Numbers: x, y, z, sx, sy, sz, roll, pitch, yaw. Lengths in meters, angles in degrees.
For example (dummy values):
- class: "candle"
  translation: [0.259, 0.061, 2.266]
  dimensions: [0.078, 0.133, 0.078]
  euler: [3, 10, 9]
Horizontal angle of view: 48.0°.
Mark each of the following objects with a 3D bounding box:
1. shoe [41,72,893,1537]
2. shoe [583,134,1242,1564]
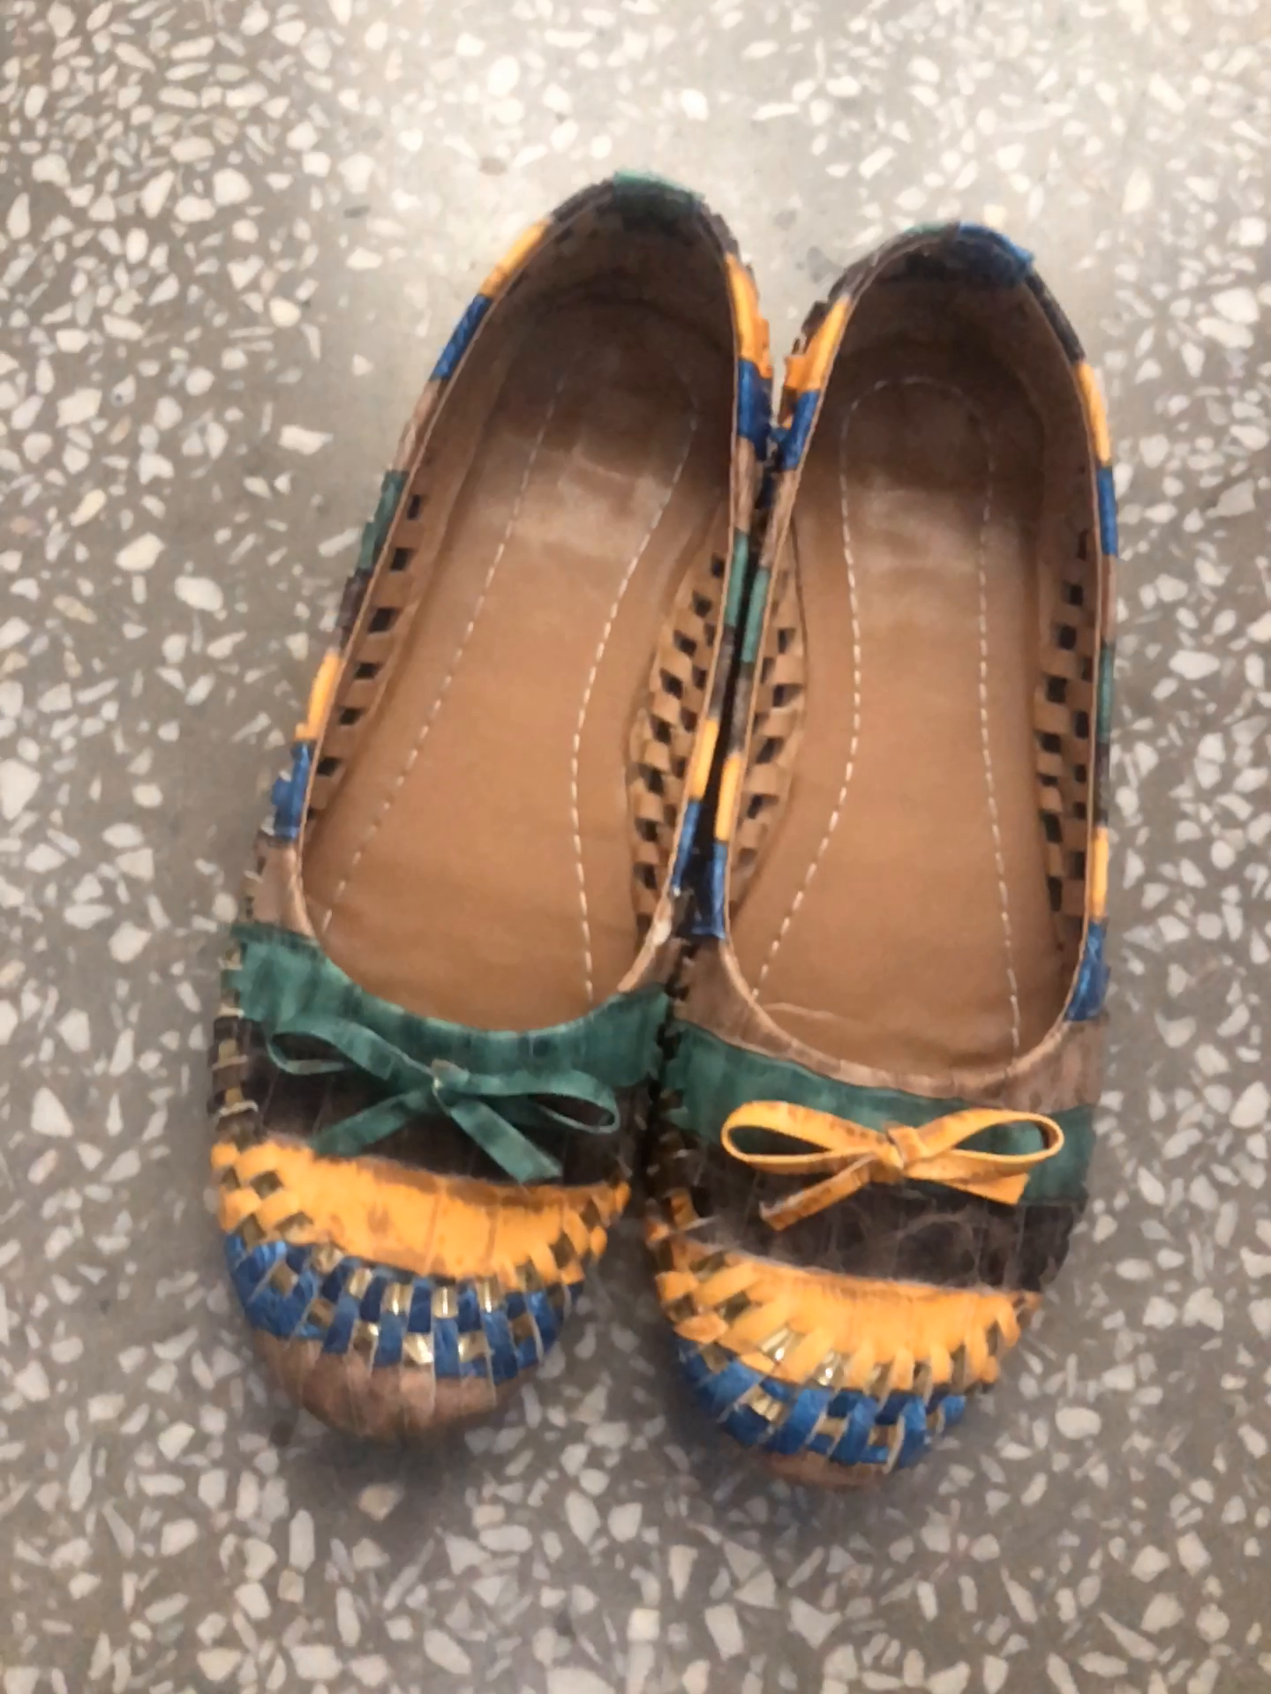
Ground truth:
- class: "shoe"
  translation: [-0.023, -0.012, 0.275]
  dimensions: [0.090, 0.074, 0.237]
  euler: [13, 79, -1]
- class: "shoe"
  translation: [0.051, -0.003, 0.278]
  dimensions: [0.090, 0.074, 0.237]
  euler: [8, 79, -2]
